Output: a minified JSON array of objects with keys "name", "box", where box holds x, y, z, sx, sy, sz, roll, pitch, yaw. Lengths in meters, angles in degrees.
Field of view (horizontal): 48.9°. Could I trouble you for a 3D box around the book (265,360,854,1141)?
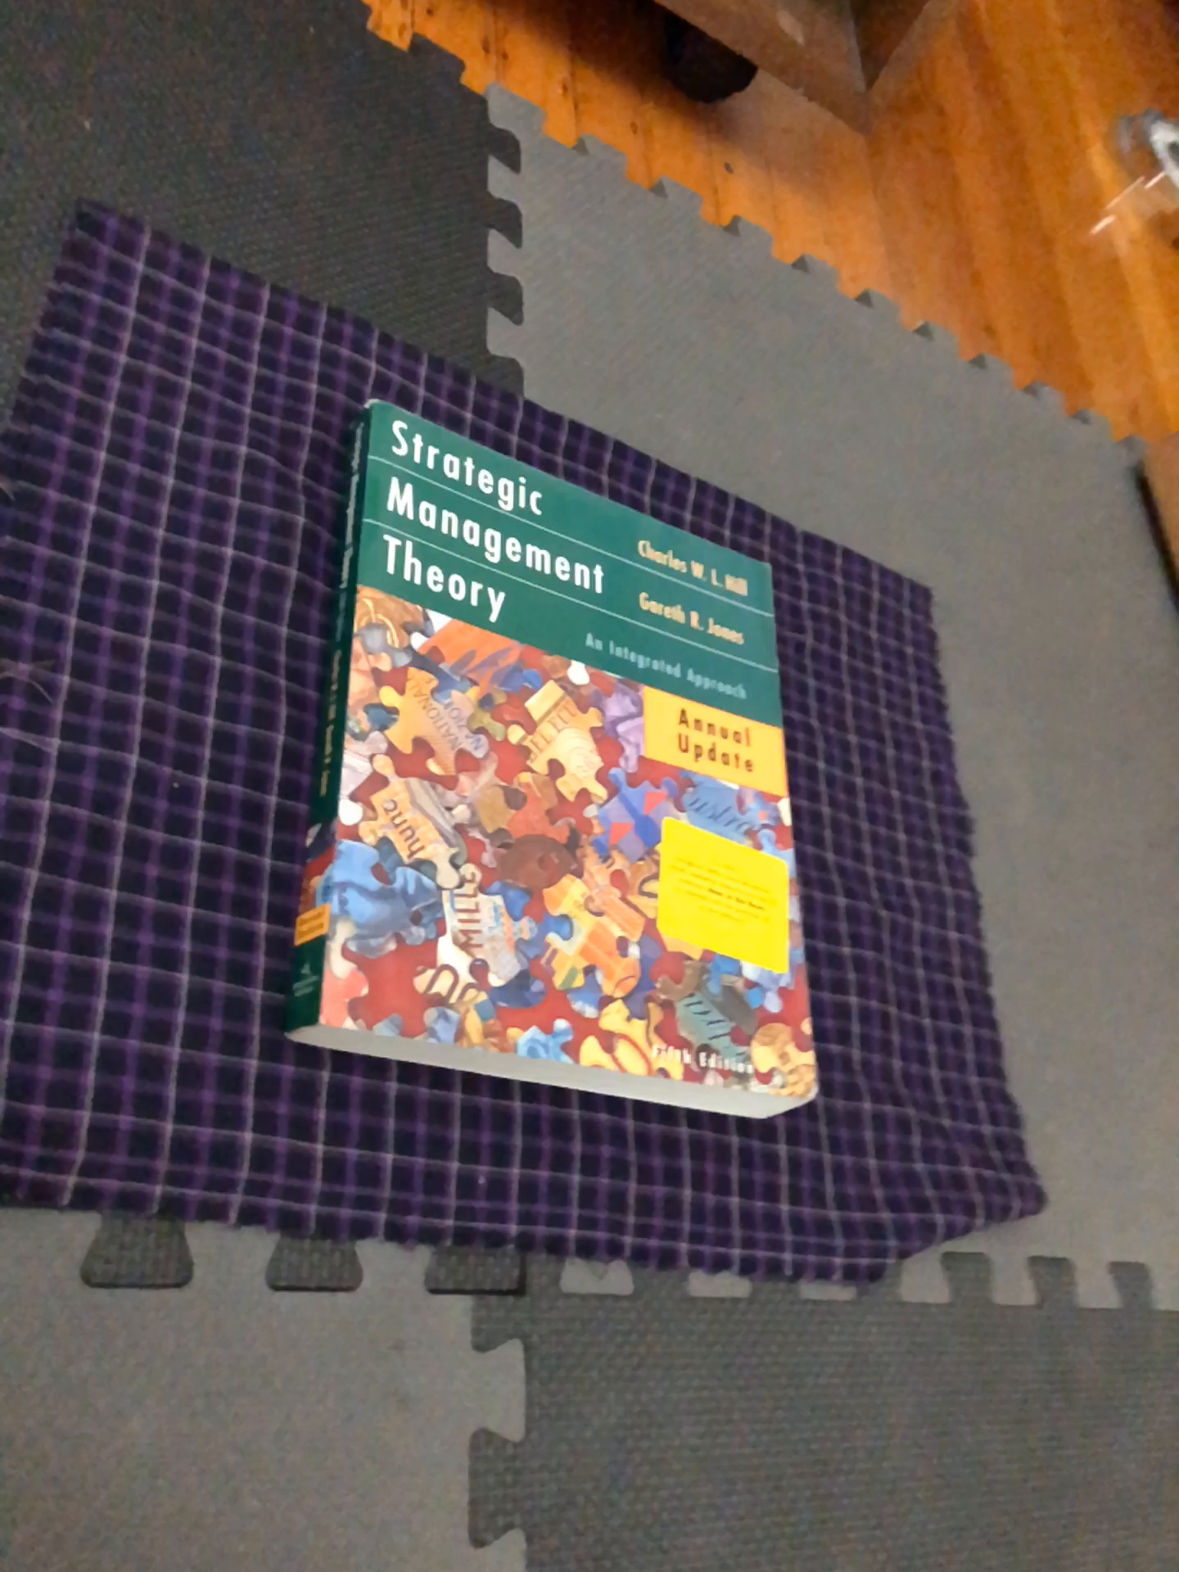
[{"name":"book","box":[0.001,-0.012,0.538,0.230,0.040,0.281,17,60,-29]}]
